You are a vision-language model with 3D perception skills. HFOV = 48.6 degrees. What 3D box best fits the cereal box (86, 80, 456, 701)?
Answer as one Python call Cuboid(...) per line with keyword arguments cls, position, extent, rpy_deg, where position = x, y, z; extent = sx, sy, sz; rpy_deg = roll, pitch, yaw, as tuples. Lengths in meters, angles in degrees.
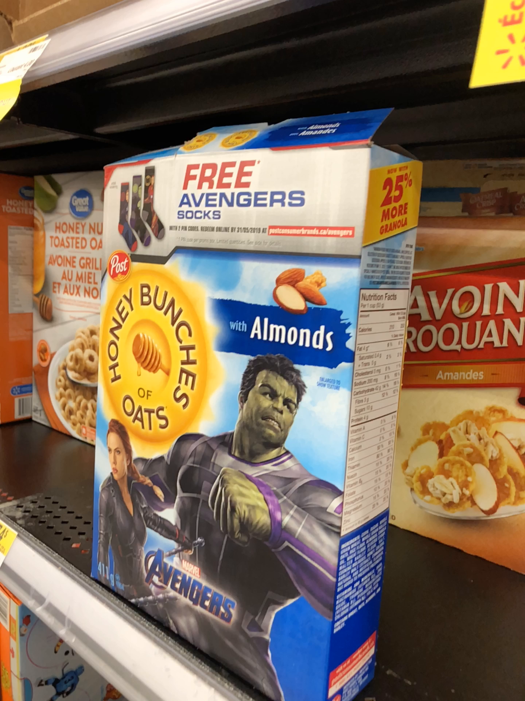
Cuboid(cls="cereal box", position=(-0.014, 0.021, 0.333), extent=(0.200, 0.289, 0.070), rpy_deg=(11, 12, 40))
